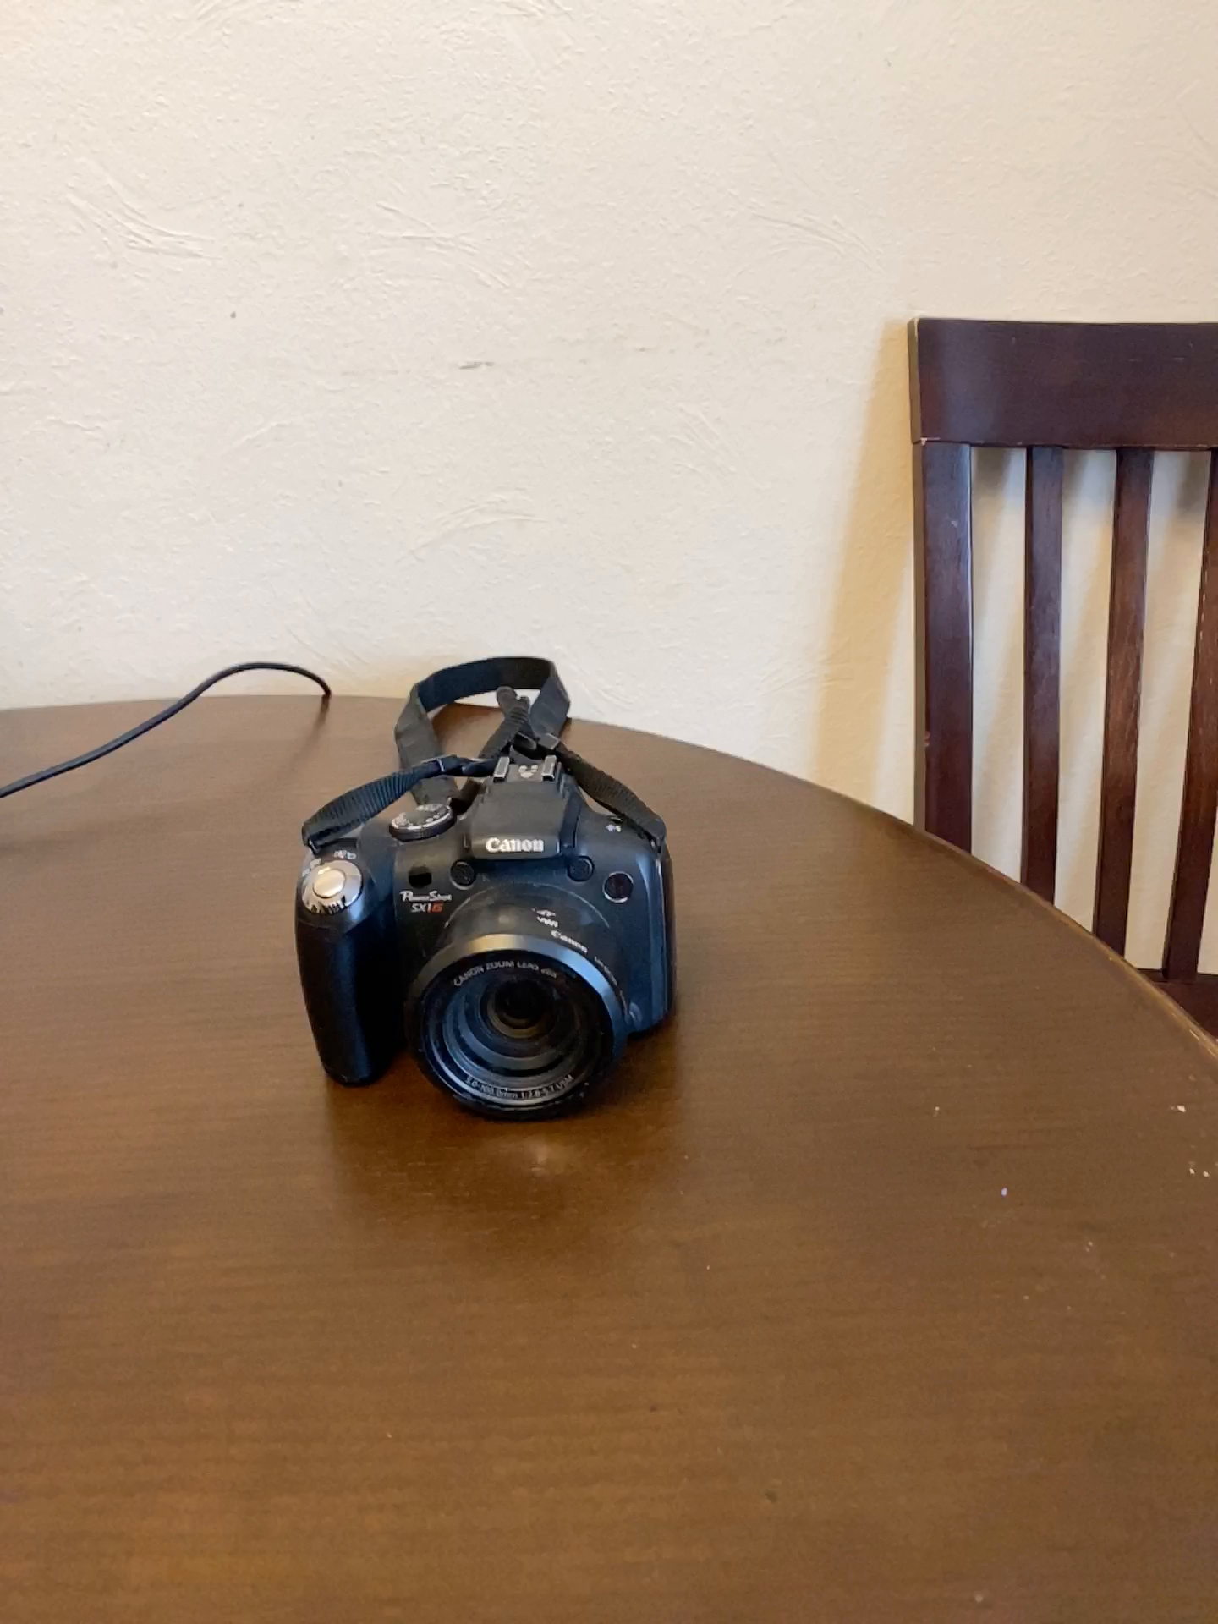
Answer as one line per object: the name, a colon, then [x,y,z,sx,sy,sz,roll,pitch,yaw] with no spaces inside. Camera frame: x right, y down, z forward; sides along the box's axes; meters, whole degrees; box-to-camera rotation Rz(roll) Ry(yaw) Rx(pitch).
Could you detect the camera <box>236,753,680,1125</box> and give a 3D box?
camera: [-0.040,0.038,0.400,0.123,0.088,0.082,0,24,4]
